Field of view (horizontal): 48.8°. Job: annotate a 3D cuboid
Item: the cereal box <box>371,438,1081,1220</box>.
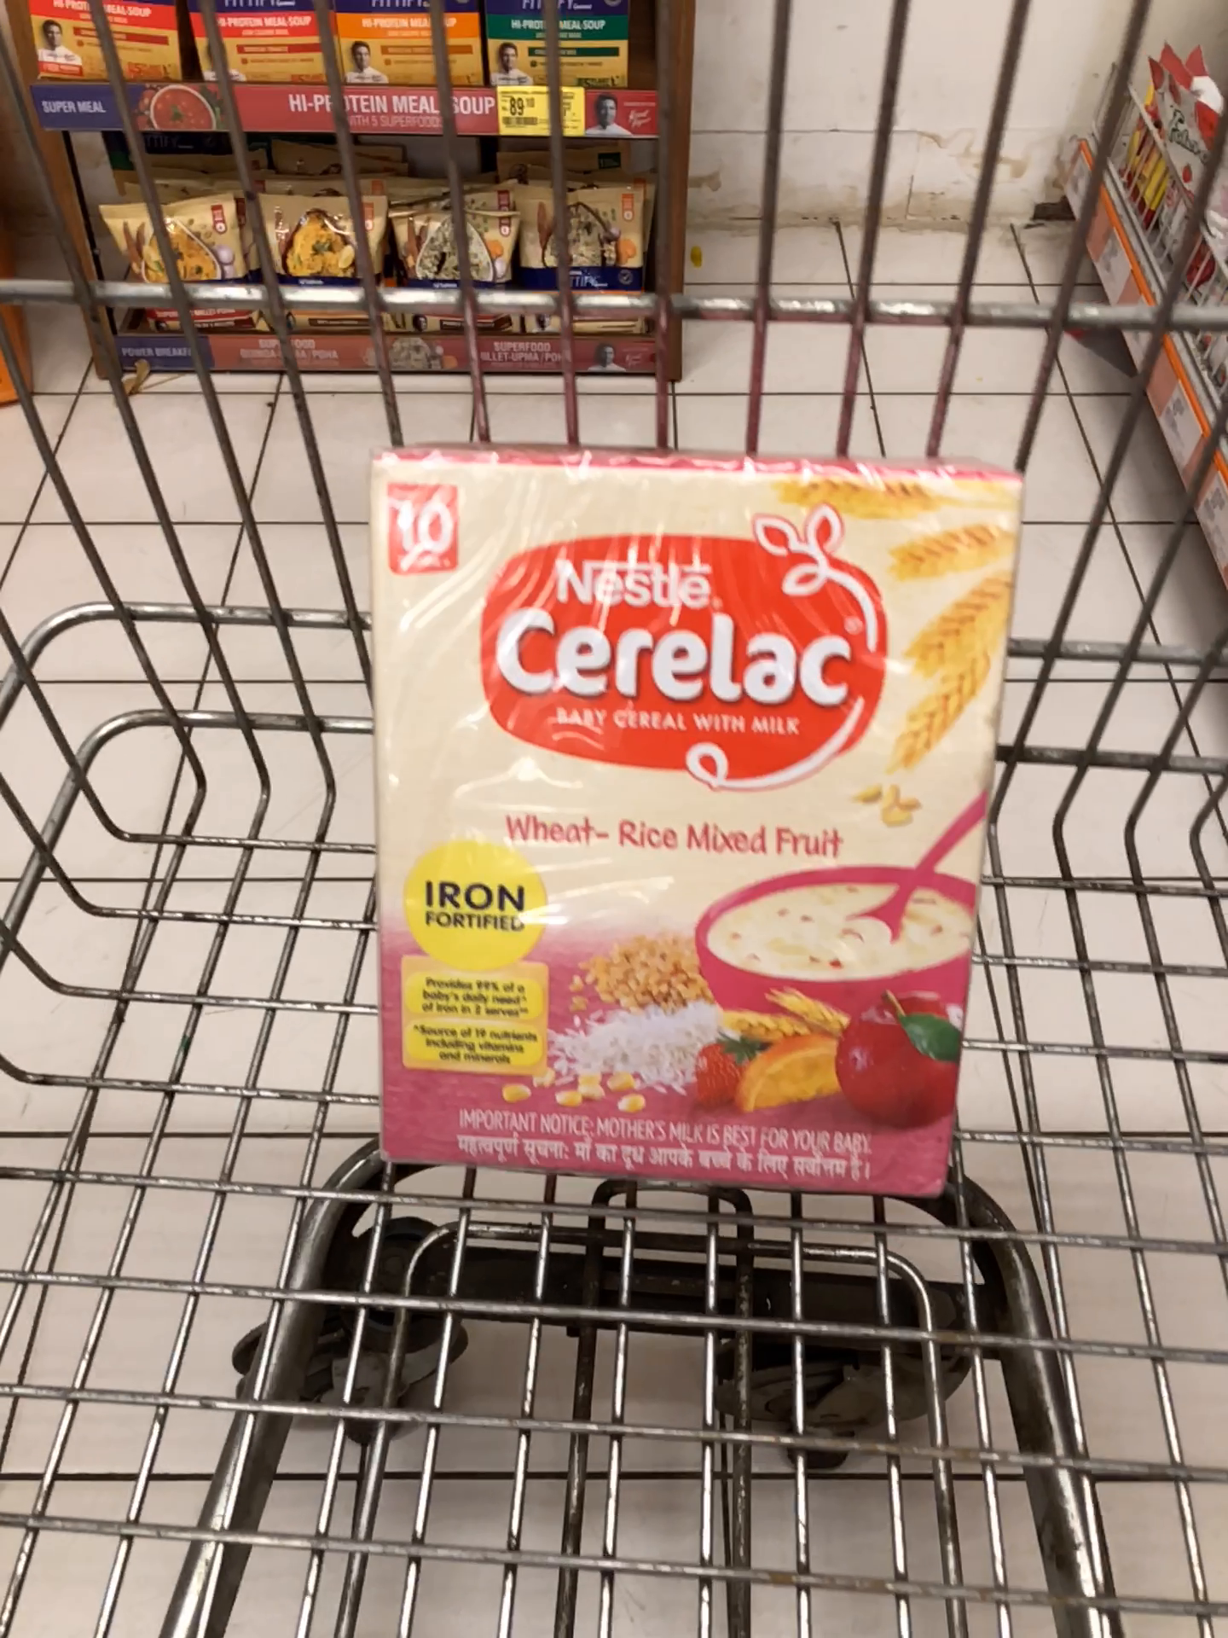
[{"bbox_3d":[0.021,0.001,0.341,0.150,0.179,0.060,3,17,2],"label":"cereal box"}]
